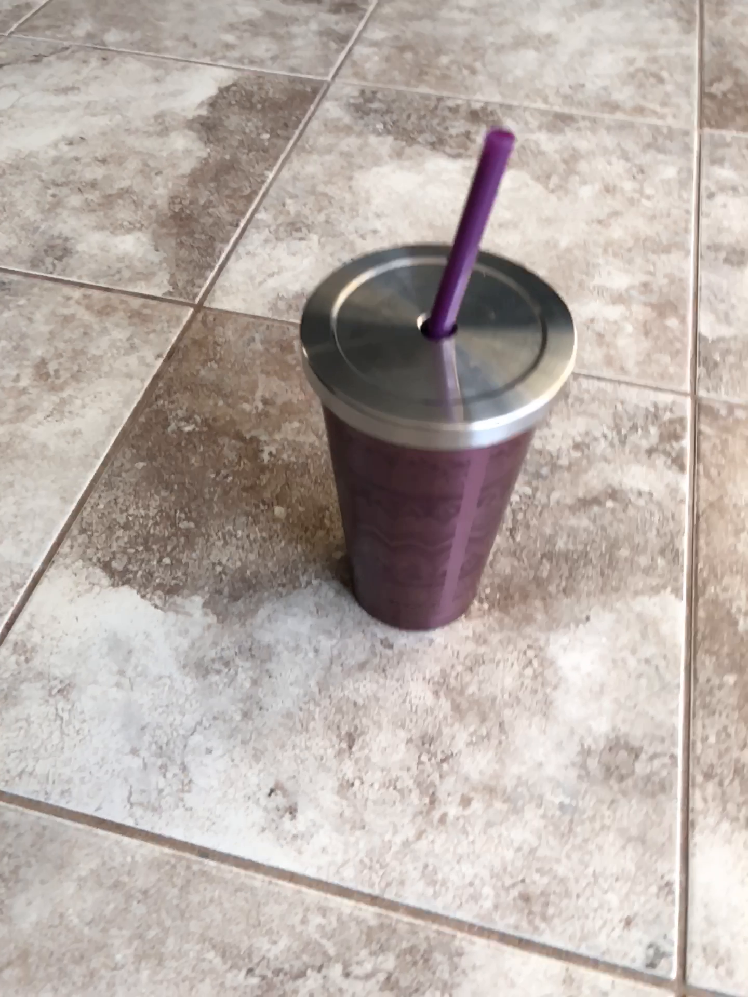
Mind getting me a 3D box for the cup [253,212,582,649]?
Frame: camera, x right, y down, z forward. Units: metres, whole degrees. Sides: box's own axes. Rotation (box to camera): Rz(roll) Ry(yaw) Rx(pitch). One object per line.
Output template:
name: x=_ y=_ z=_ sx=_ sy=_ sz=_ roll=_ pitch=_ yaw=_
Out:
cup: x=0.019 y=-0.023 z=0.375 sx=0.111 sy=0.165 sz=0.102 roll=1 pitch=52 yaw=-1
